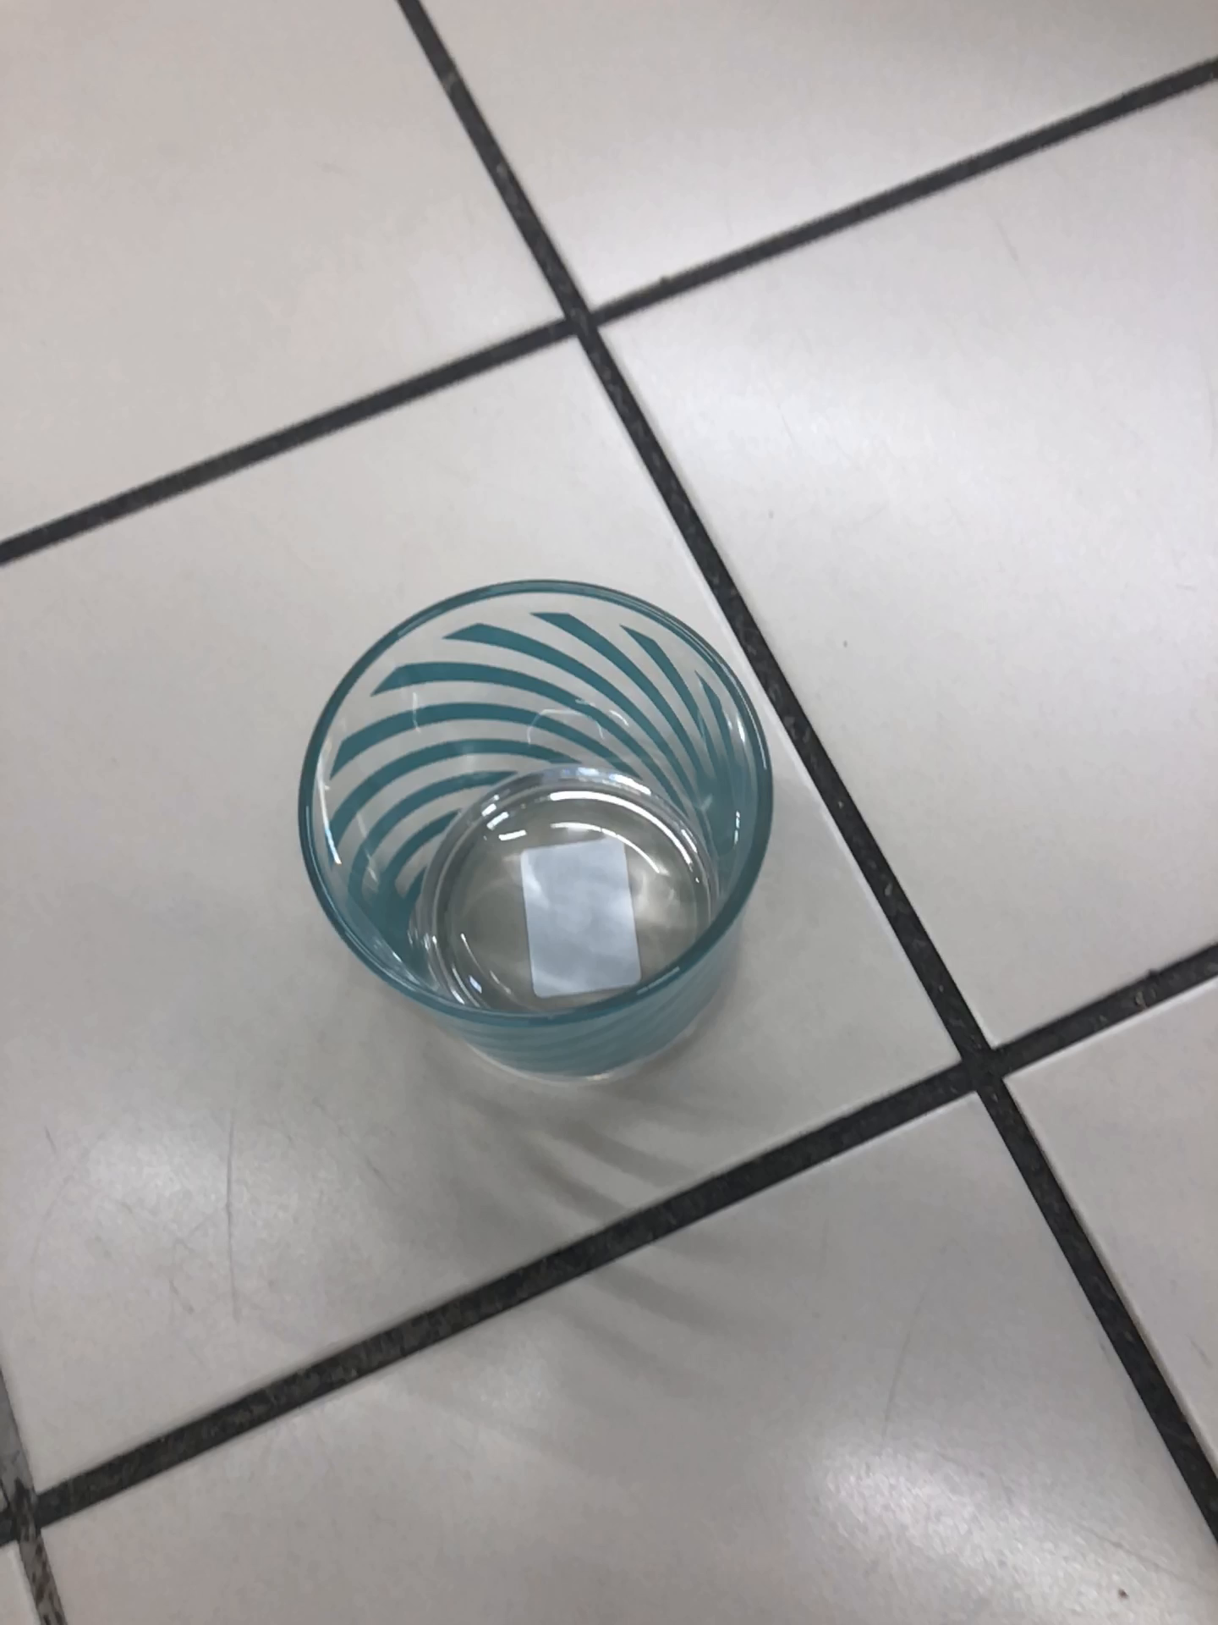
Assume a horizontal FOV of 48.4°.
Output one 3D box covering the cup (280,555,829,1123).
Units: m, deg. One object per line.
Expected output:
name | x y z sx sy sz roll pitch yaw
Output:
cup | -0.009 0.010 0.249 0.079 0.080 0.075 -1 71 3
